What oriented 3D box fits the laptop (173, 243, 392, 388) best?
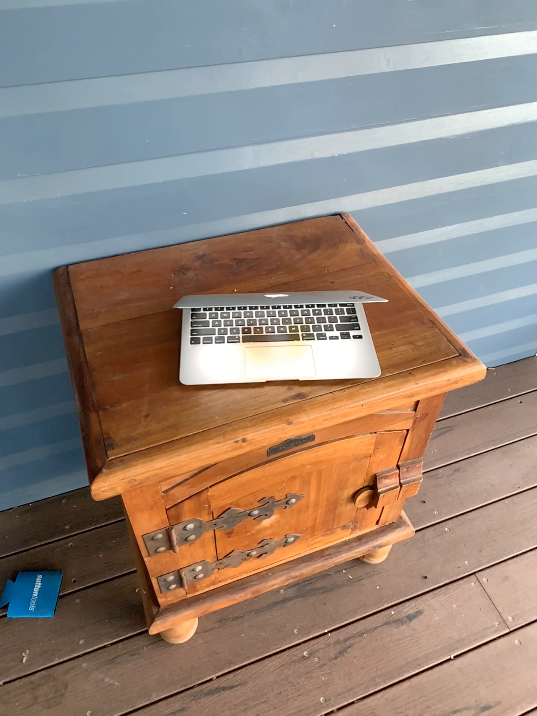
[{"bbox_3d":[0.013,-0.066,0.795,0.282,0.099,0.181,-3,47,-3],"label":"laptop"}]
